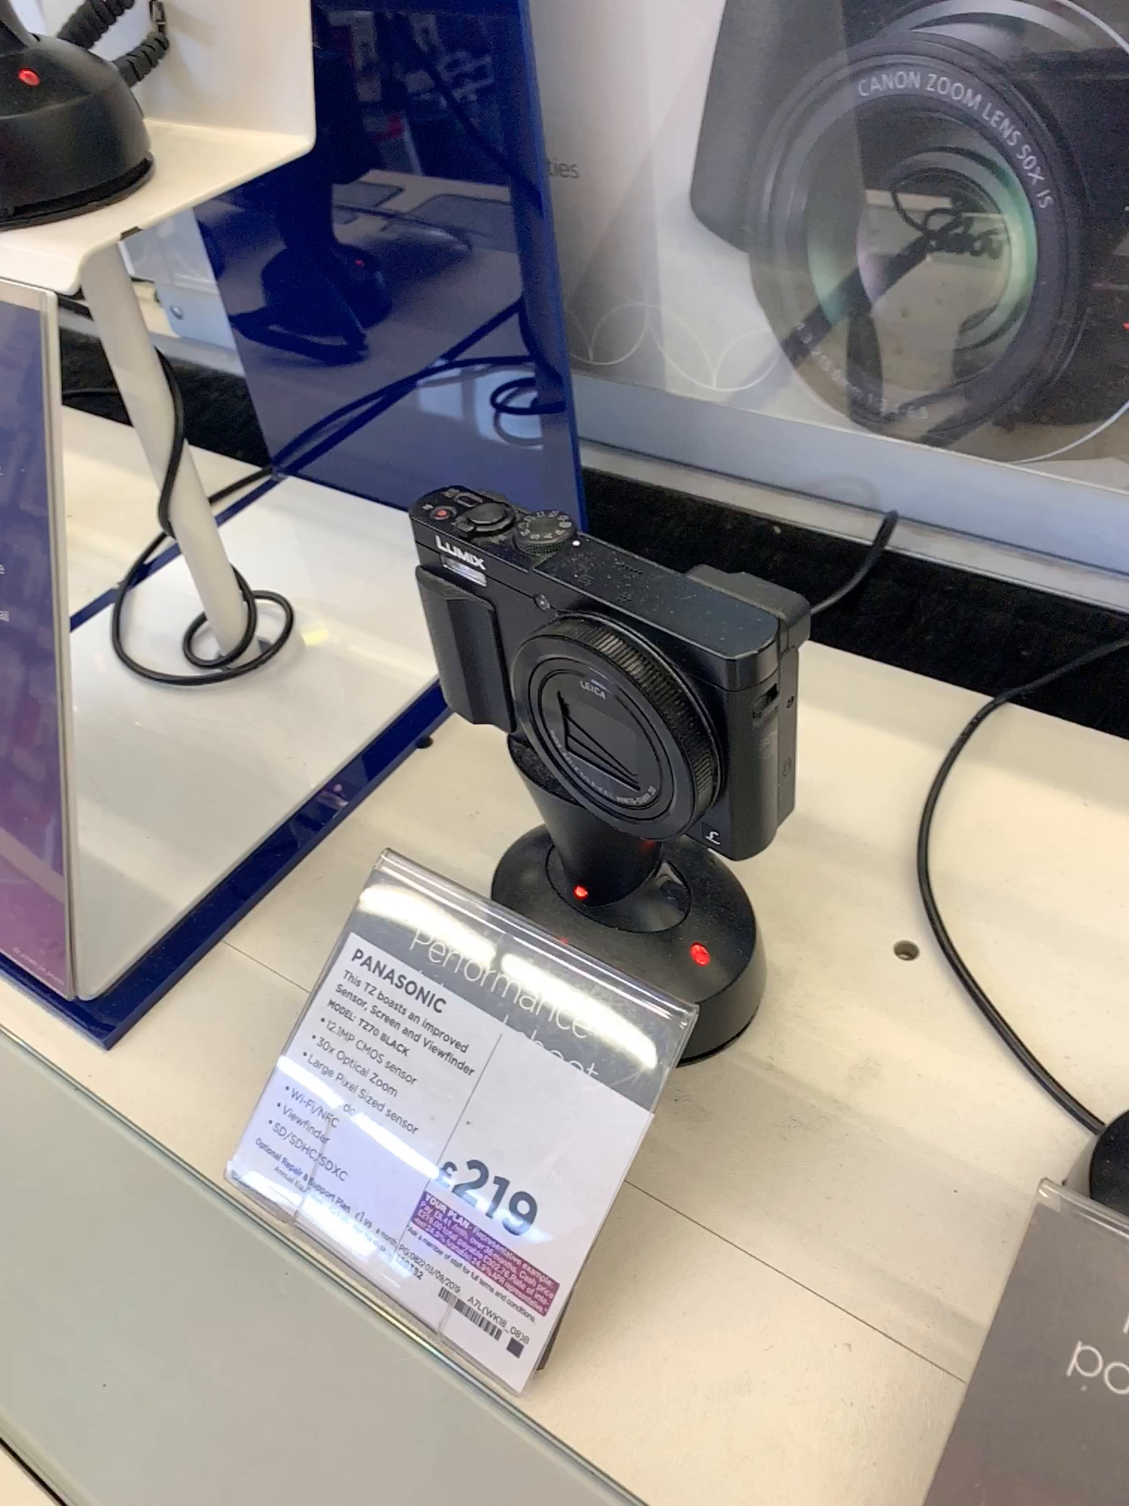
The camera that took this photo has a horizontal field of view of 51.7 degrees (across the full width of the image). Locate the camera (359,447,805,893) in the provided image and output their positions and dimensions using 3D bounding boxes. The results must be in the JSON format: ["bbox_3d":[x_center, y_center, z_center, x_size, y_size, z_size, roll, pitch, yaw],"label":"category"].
[{"bbox_3d":[0.003,-0.023,0.289,0.111,0.069,0.030,29,55,33],"label":"camera"}]
